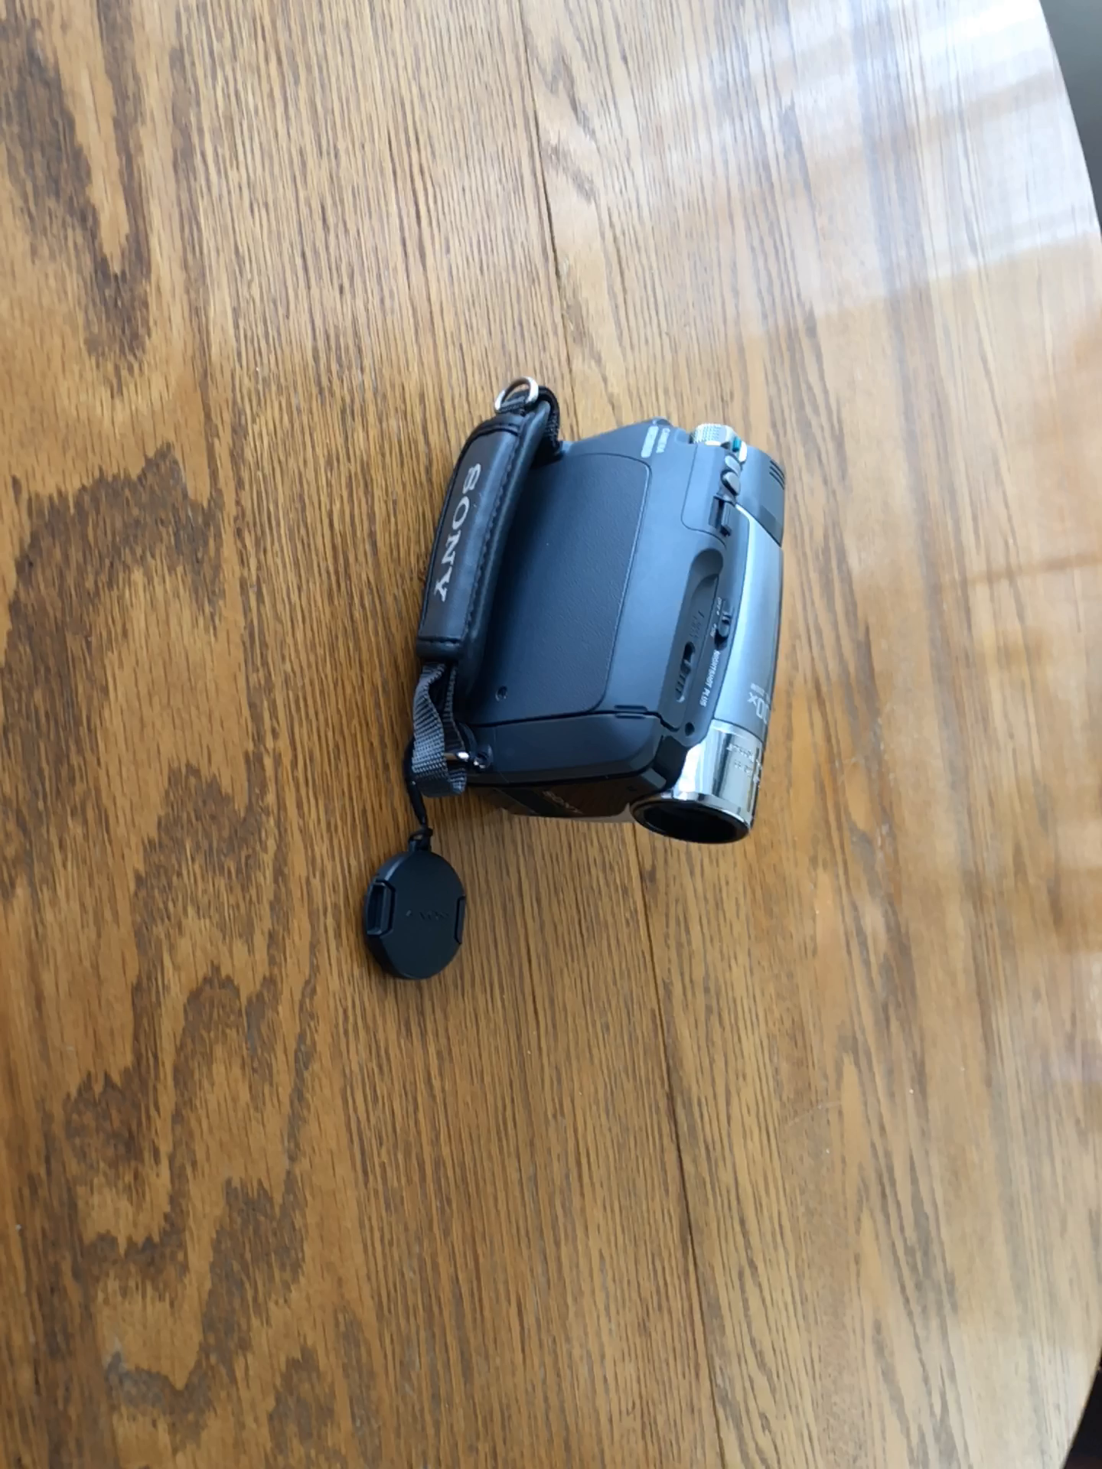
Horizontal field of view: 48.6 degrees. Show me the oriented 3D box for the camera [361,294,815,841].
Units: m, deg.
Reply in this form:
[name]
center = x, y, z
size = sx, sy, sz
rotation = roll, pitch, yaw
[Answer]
[camera]
center = 0.015, -0.038, 0.329
size = 0.080, 0.072, 0.112
rotation = 34, 59, -45
